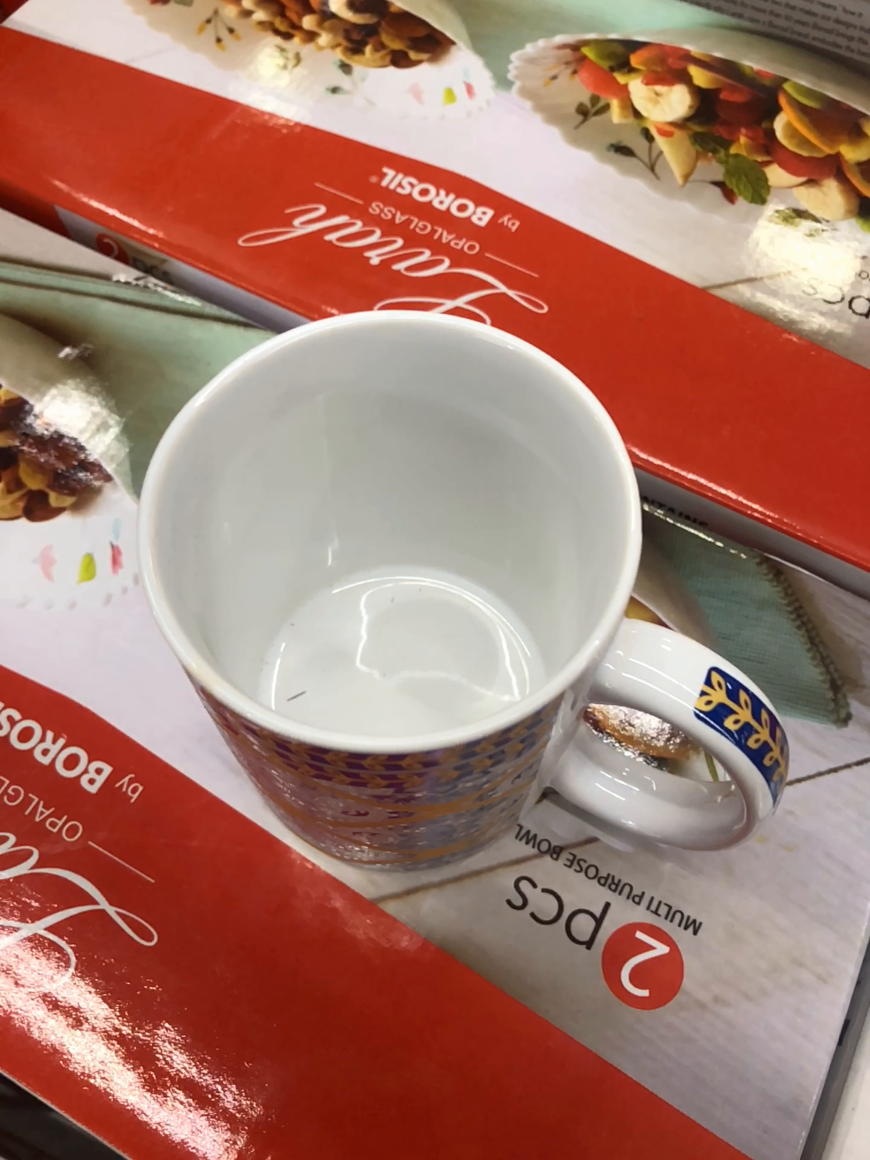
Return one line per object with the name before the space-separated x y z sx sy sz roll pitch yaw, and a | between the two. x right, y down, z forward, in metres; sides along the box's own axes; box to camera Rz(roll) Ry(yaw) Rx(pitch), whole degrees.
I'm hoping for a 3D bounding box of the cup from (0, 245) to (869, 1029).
cup | 0.003 0.017 0.182 0.110 0.100 0.080 19 63 9
